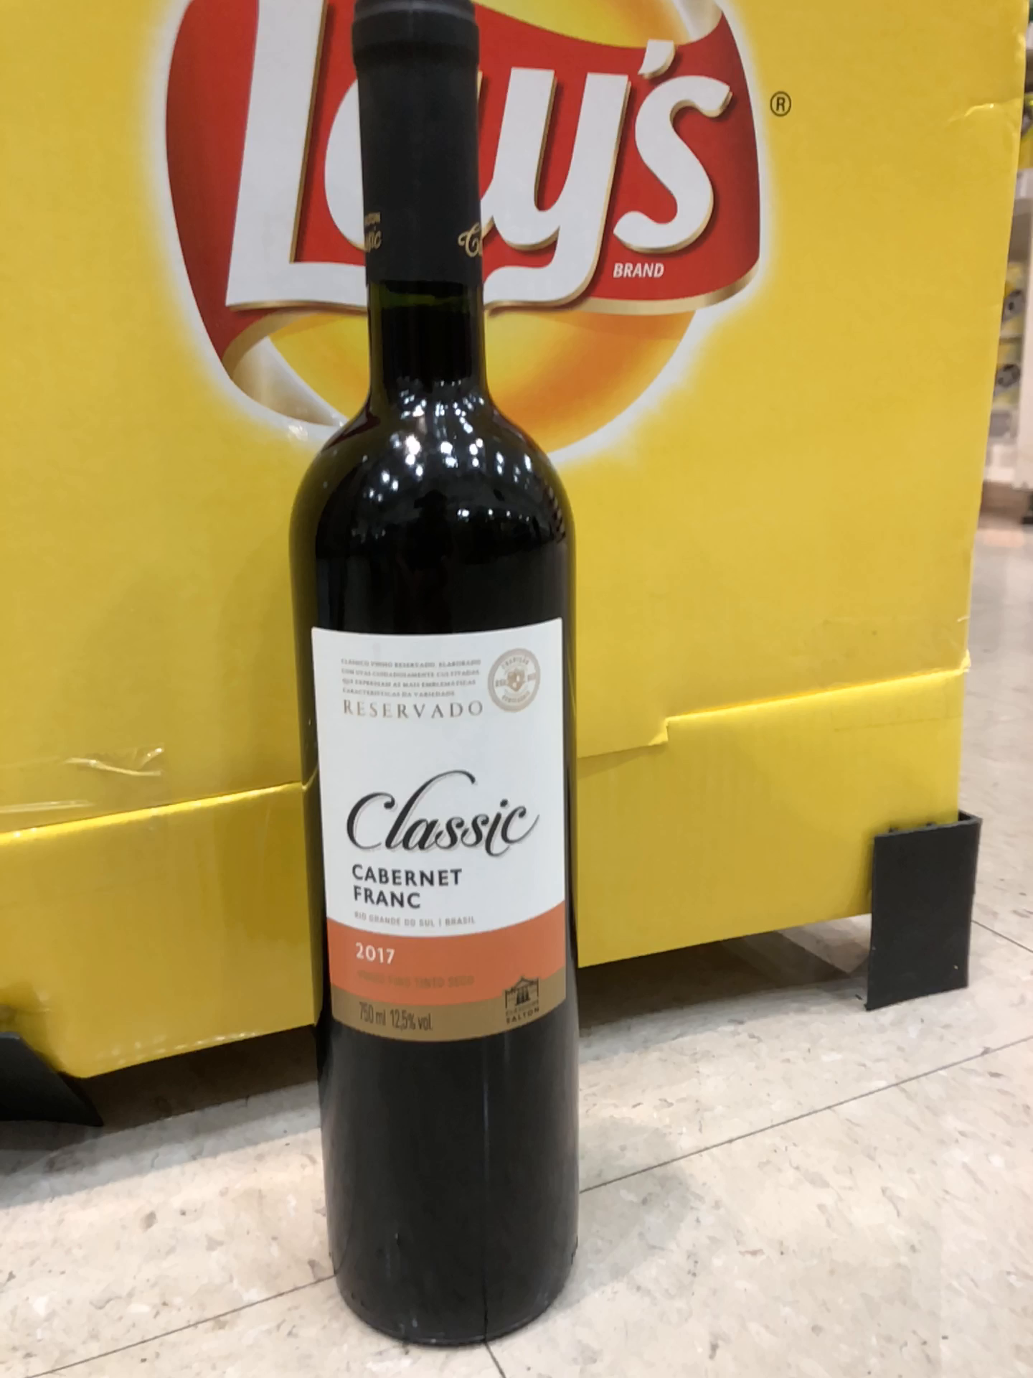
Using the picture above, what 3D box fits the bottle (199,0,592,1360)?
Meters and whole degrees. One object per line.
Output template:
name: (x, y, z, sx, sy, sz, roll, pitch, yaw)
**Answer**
bottle: (-0.020, 0.005, 0.279, 0.070, 0.318, 0.060, -1, 14, 0)
